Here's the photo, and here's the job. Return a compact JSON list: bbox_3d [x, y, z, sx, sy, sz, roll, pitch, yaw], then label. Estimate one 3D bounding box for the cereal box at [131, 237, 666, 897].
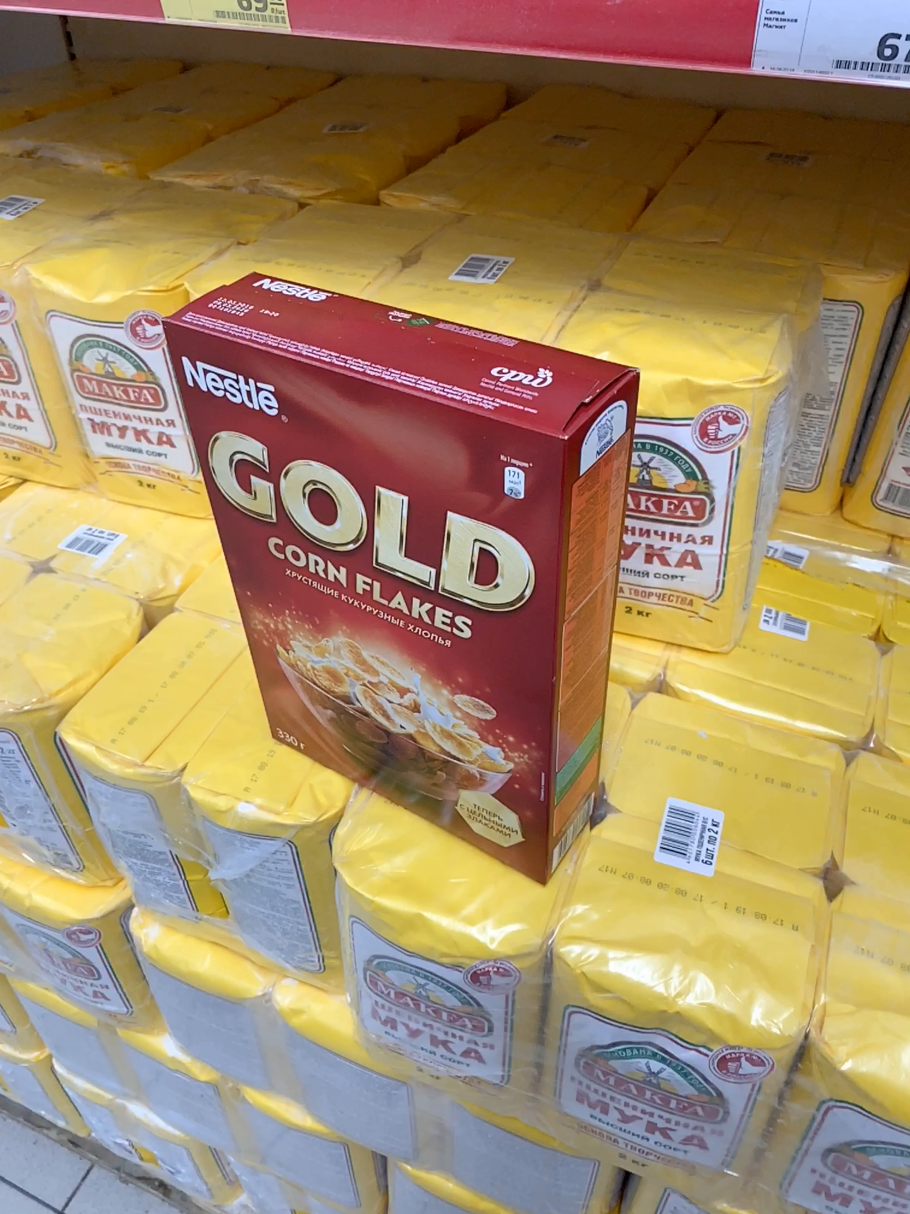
[{"bbox_3d":[-0.025,-0.008,0.468,0.211,0.287,0.070,23,48,24],"label":"cereal box"}]
